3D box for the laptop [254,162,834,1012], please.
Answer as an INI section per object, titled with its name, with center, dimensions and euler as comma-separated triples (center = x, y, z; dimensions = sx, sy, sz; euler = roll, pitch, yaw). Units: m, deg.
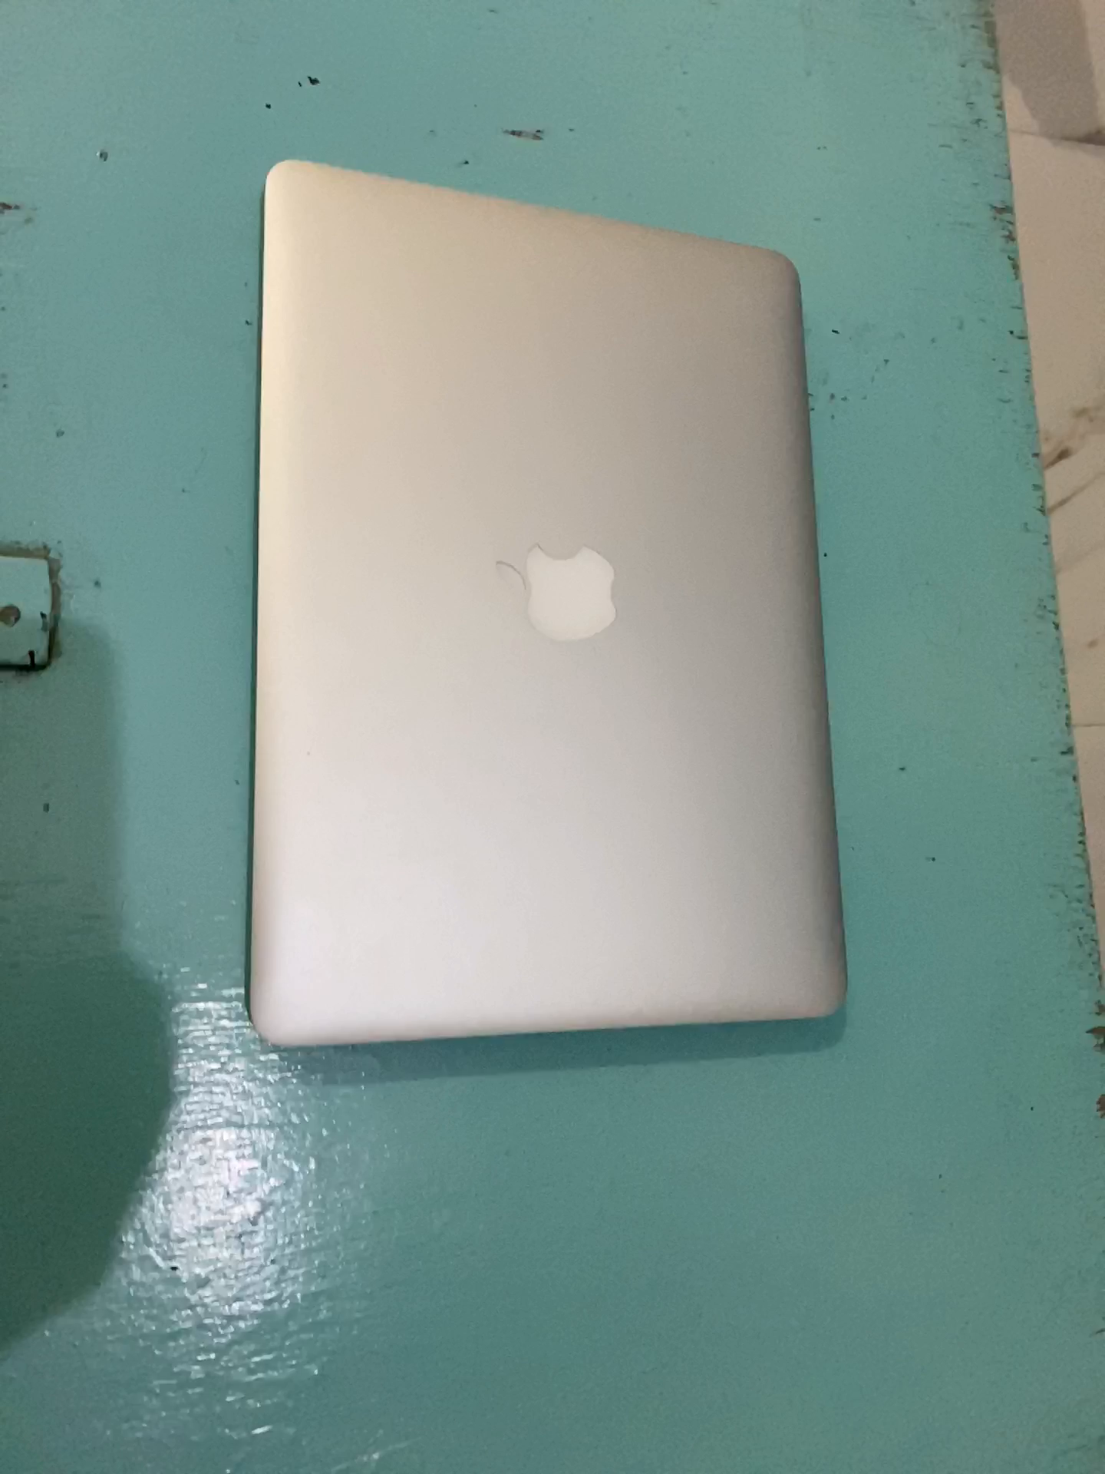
[laptop]
center = 0.000, -0.054, 0.415
dimensions = 0.209, 0.007, 0.291
euler = 1, 81, -21
